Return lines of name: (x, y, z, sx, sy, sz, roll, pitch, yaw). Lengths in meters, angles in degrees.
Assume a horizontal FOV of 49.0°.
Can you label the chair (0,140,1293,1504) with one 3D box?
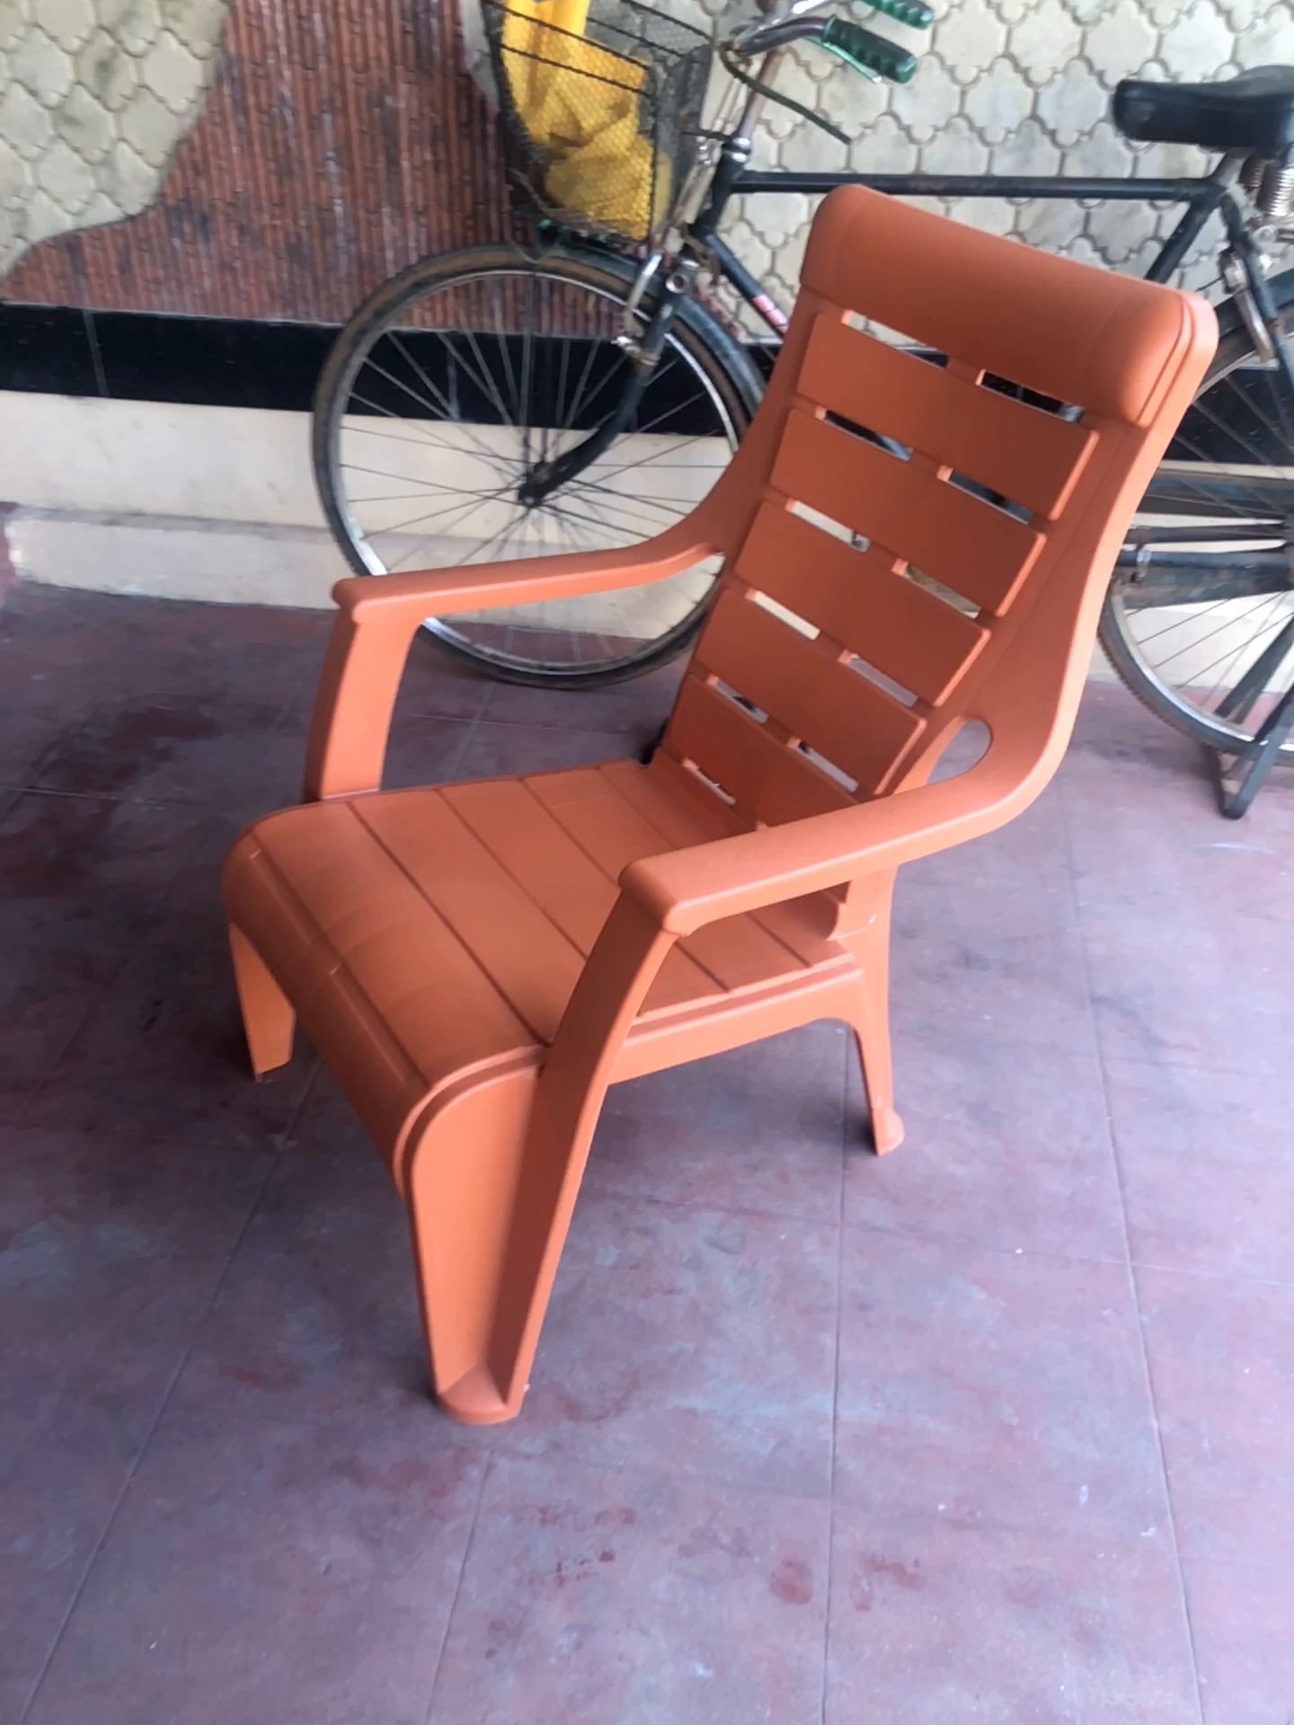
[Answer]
chair: (-0.049, -0.115, 1.265, 0.762, 0.786, 0.692, -21, 42, -26)
